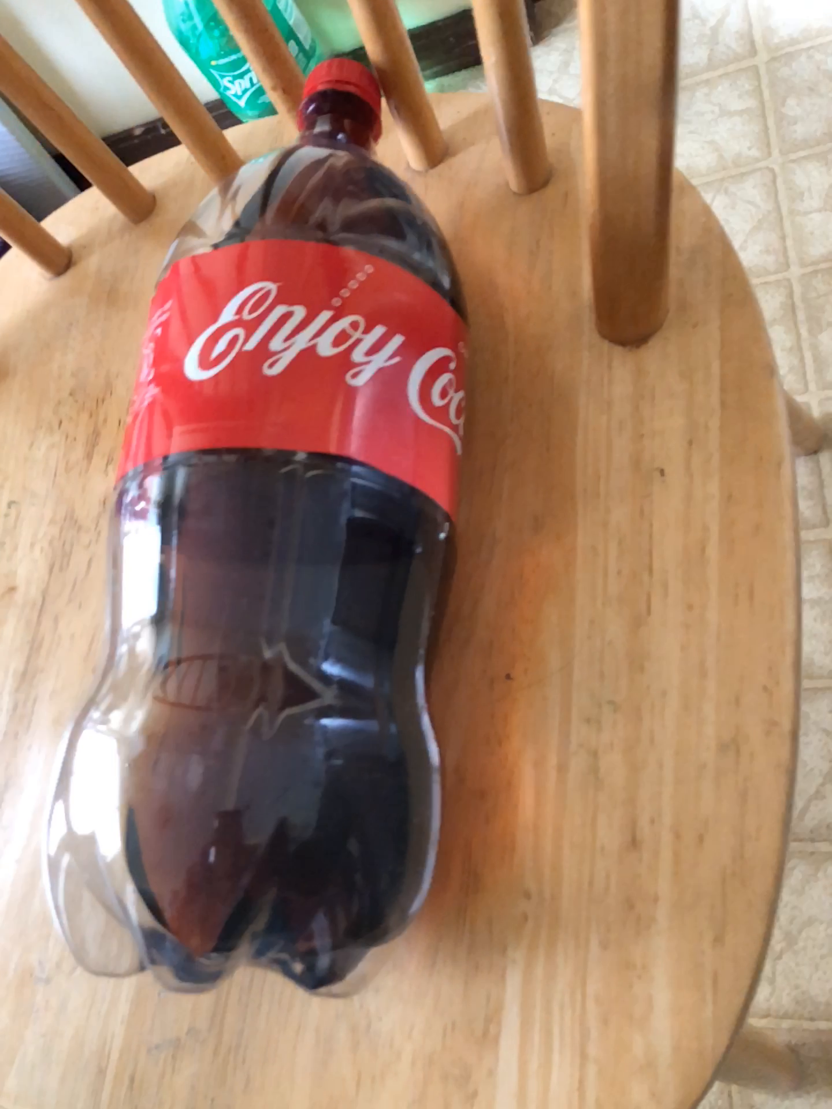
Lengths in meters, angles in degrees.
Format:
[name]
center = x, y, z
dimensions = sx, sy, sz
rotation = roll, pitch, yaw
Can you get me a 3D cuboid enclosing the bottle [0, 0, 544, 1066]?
[bottle]
center = -0.040, -0.033, 0.289
dimensions = 0.100, 0.120, 0.320
rotation = -23, 59, 55
